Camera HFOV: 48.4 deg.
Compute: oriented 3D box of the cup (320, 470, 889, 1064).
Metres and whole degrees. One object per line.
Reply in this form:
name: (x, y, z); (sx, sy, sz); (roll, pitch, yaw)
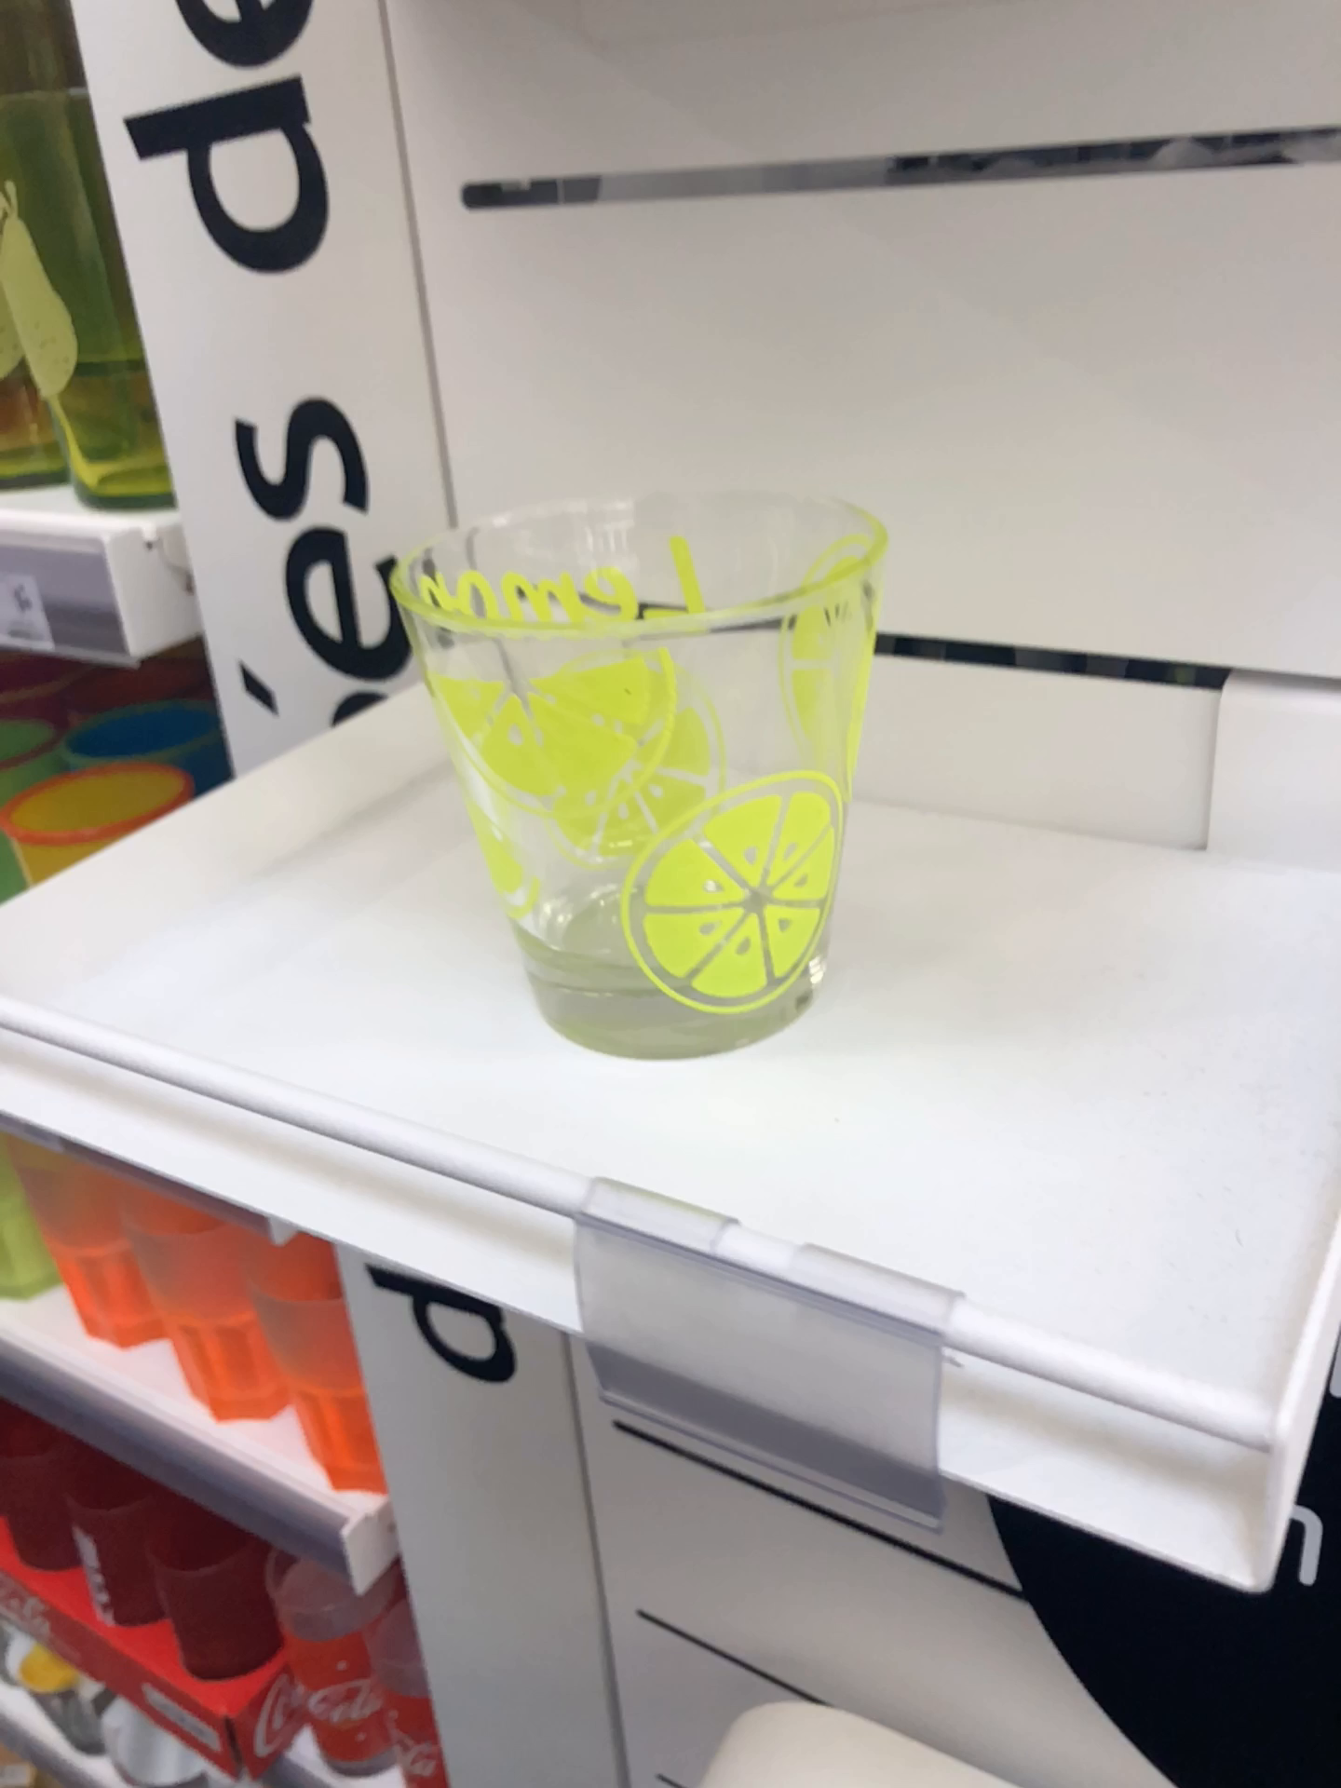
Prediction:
cup: (-0.003, -0.025, 0.261); (0.080, 0.075, 0.084); (-4, 26, 2)
